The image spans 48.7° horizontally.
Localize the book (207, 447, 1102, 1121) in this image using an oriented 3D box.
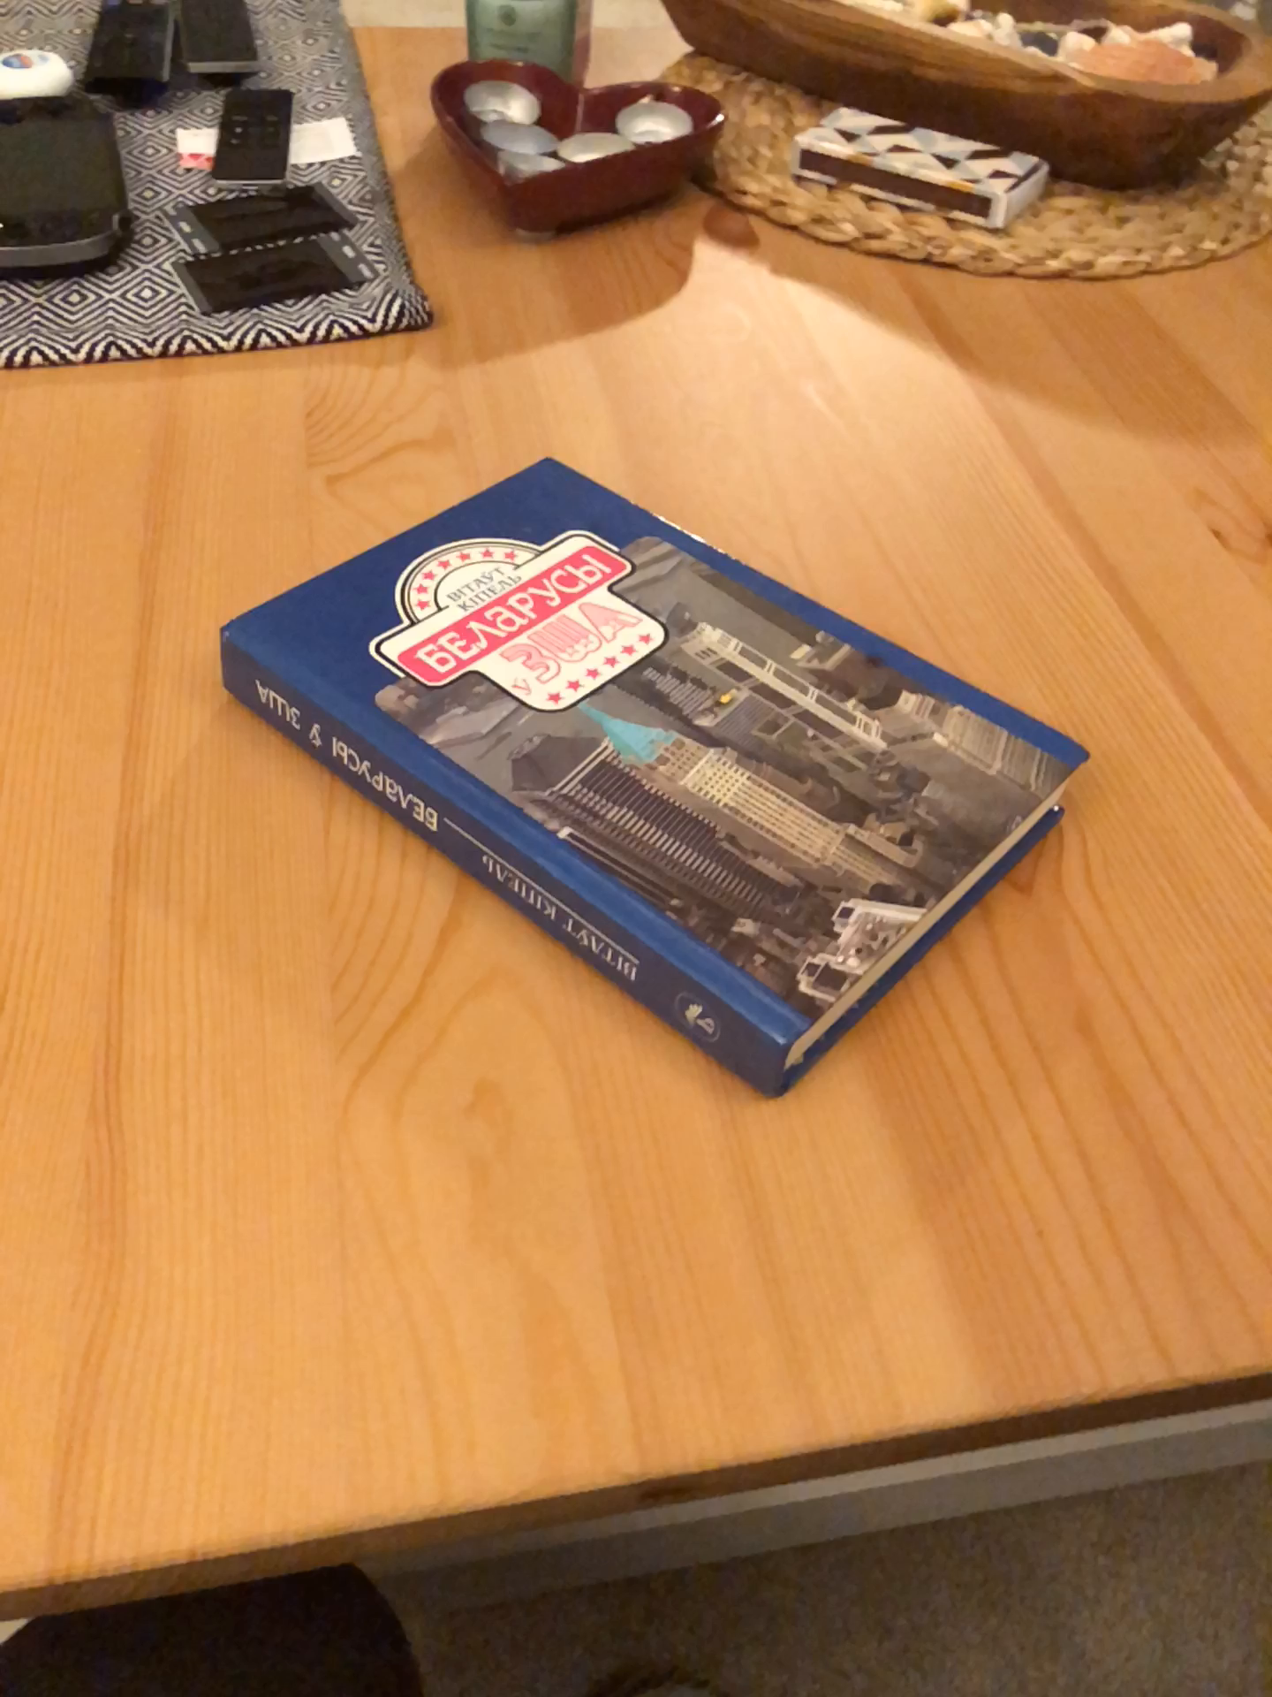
[{"bbox_3d":[0.002,-0.038,0.425,0.224,0.030,0.147,35,53,25],"label":"book"}]
